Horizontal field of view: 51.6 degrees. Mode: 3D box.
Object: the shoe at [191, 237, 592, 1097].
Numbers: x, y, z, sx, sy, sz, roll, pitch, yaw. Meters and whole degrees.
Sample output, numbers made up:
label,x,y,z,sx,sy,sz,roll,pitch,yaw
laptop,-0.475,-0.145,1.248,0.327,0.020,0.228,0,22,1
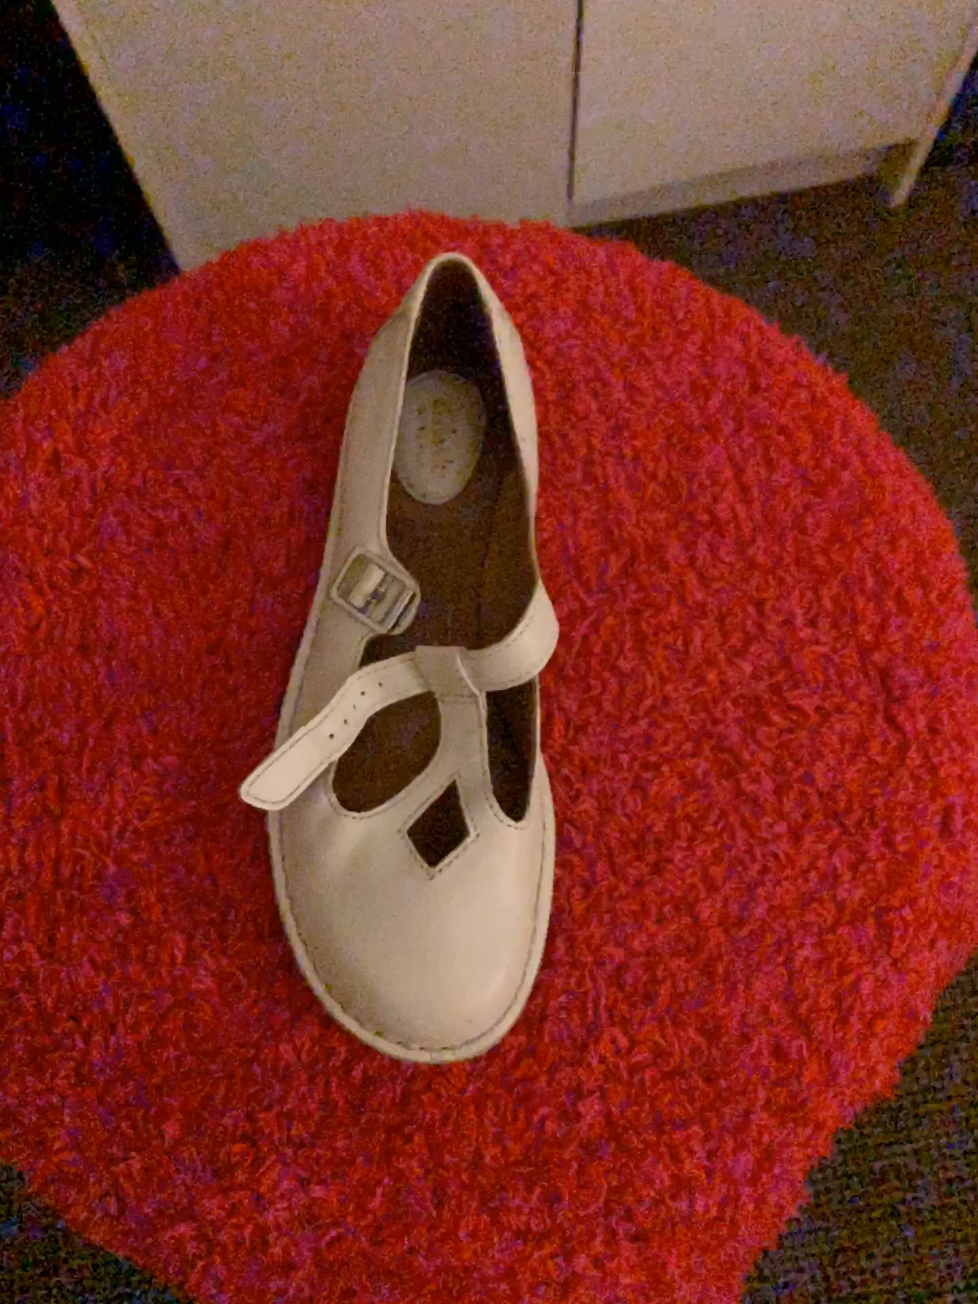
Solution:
label,x,y,z,sx,sy,sz,roll,pitch,yaw
shoe,-0.029,0.001,0.338,0.100,0.090,0.261,-3,70,1
